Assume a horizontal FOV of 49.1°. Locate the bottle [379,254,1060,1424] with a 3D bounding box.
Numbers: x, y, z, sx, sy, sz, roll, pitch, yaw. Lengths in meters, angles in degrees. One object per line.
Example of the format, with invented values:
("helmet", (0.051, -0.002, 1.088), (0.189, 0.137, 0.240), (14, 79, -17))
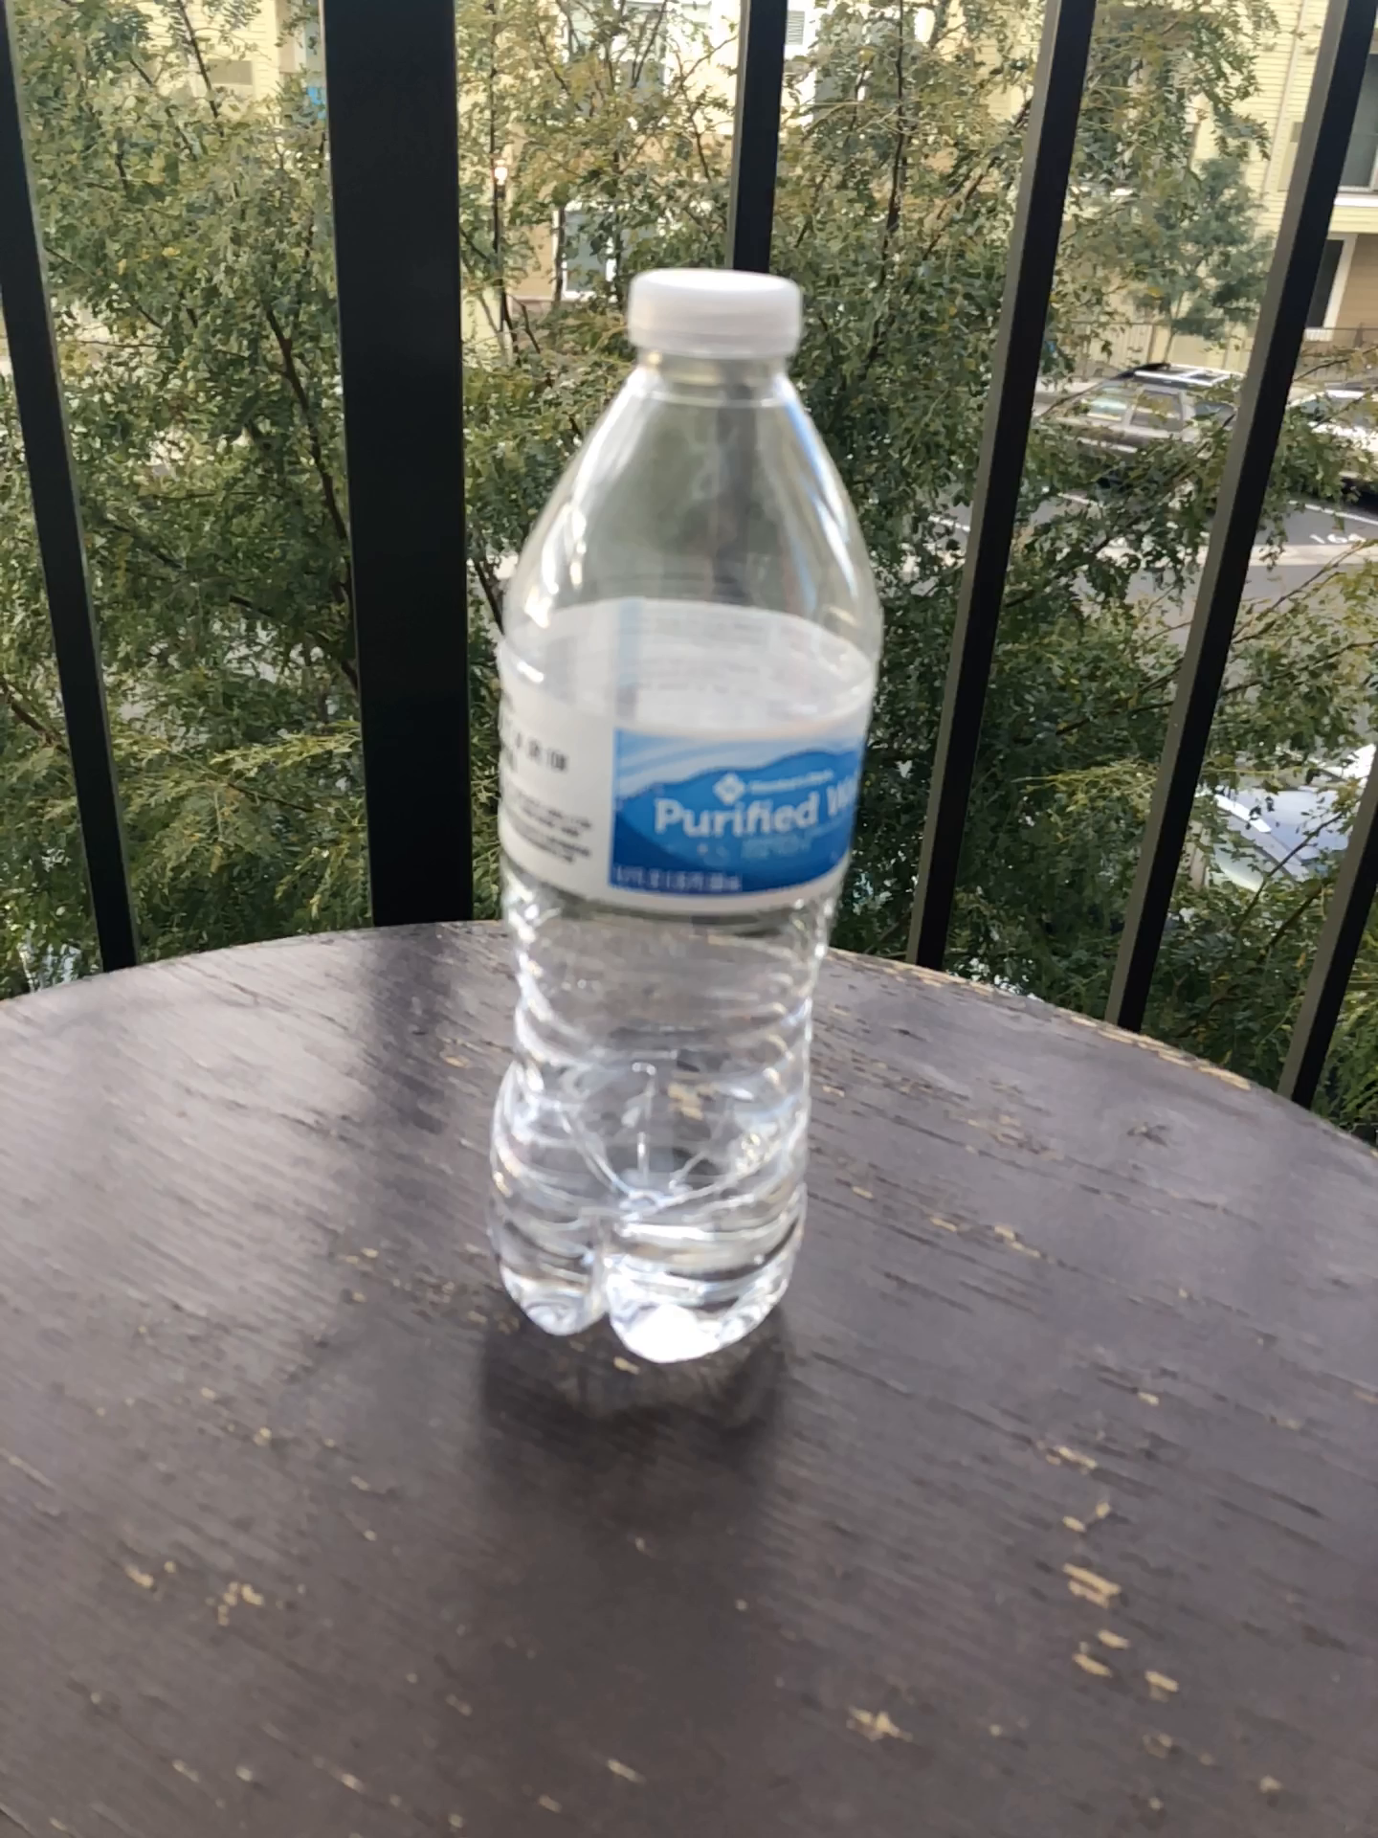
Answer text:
("bottle", (-0.002, -0.016, 0.280), (0.075, 0.189, 0.080), (2, 28, -1))
